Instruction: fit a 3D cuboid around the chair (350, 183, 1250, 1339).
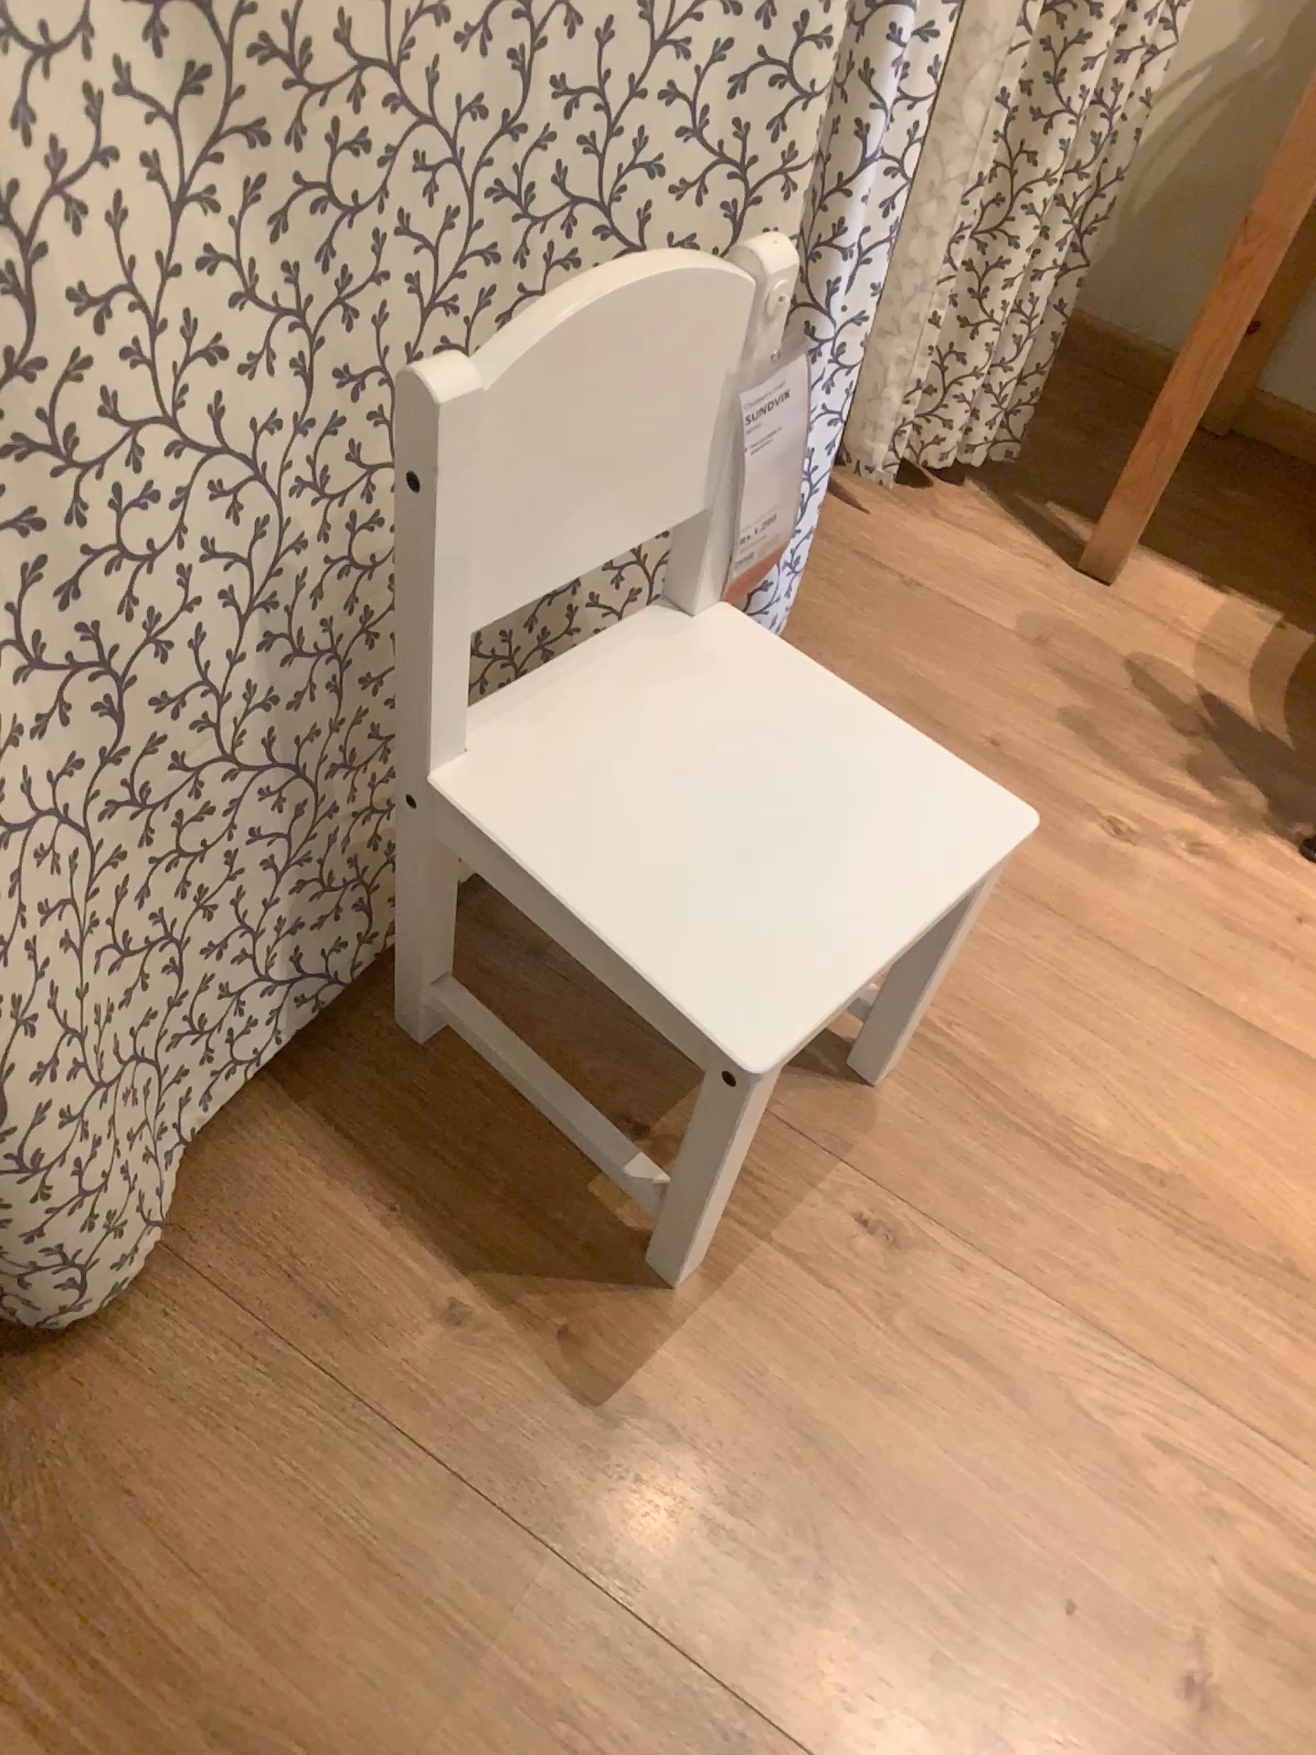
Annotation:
[{"bbox_3d":[0.028,-0.030,0.789,0.290,0.568,0.271,38,54,20],"label":"chair"}]
